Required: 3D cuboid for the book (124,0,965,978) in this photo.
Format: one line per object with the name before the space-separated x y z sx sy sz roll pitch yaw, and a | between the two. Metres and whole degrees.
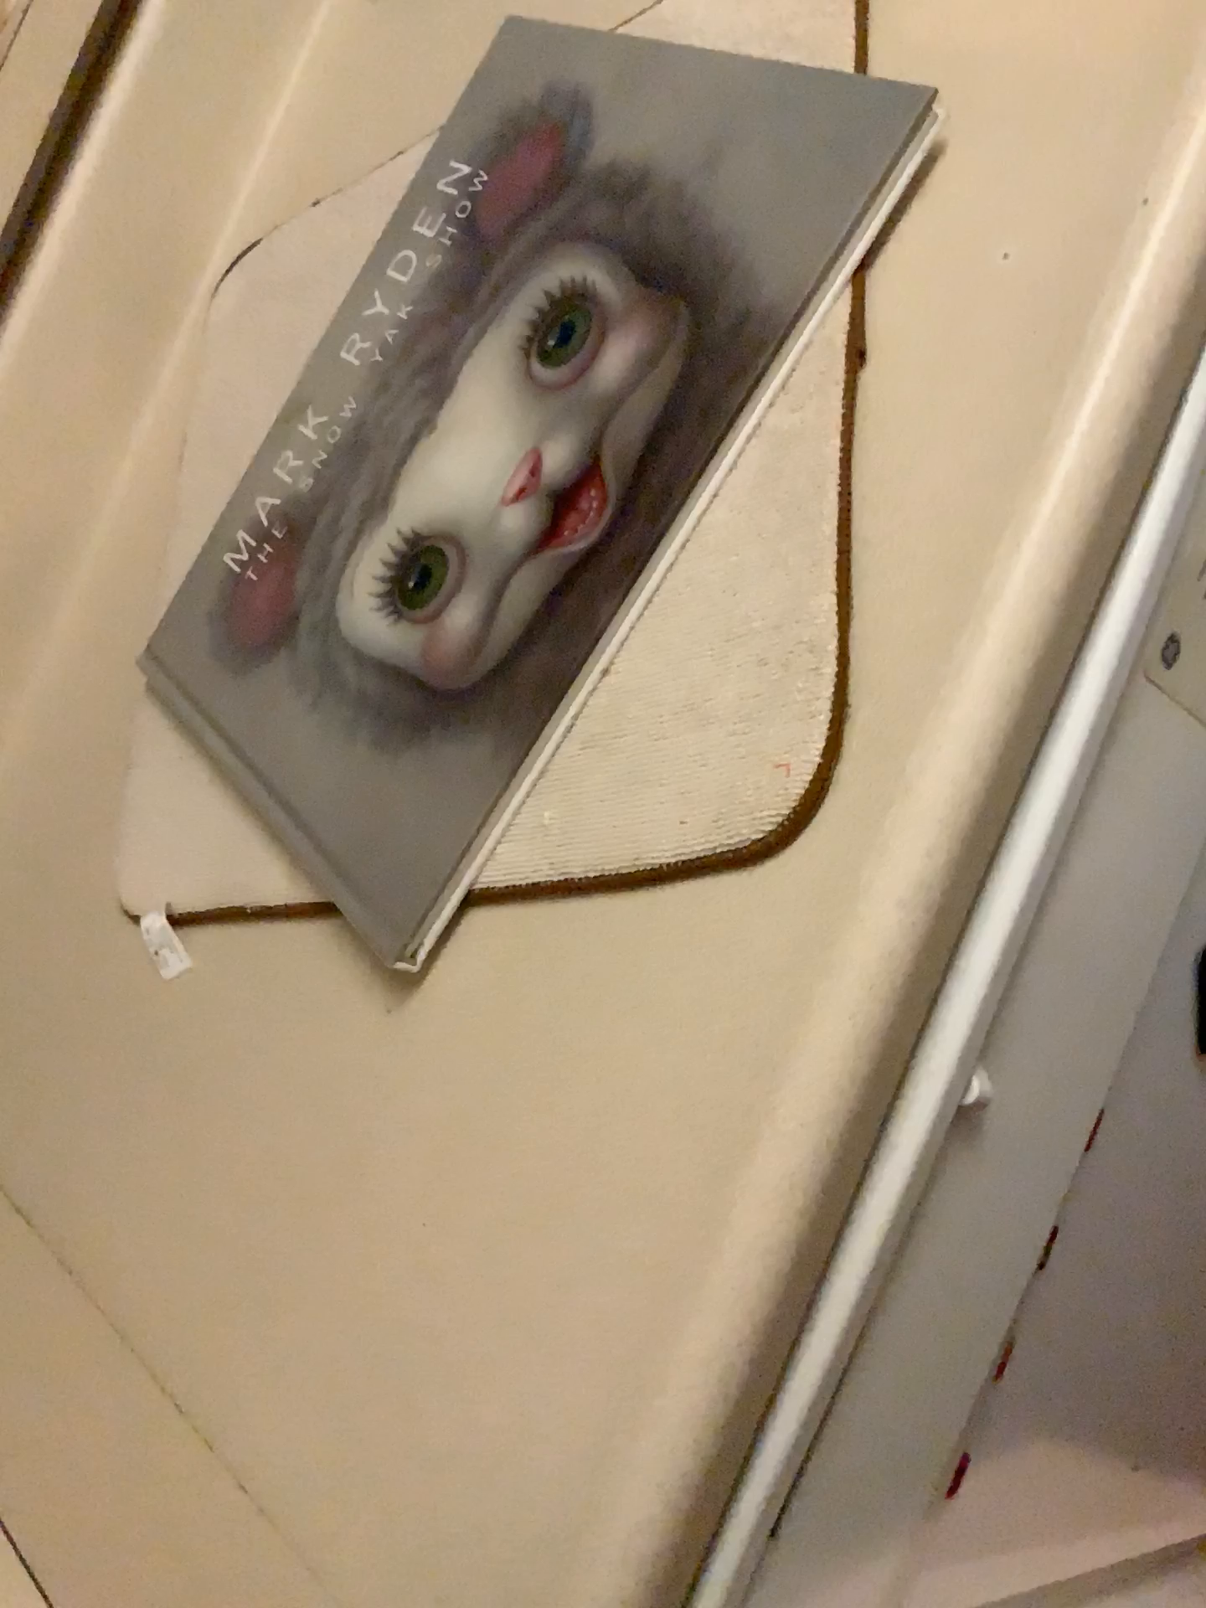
book | -0.062 -0.162 0.589 0.290 0.020 0.380 40 101 42
